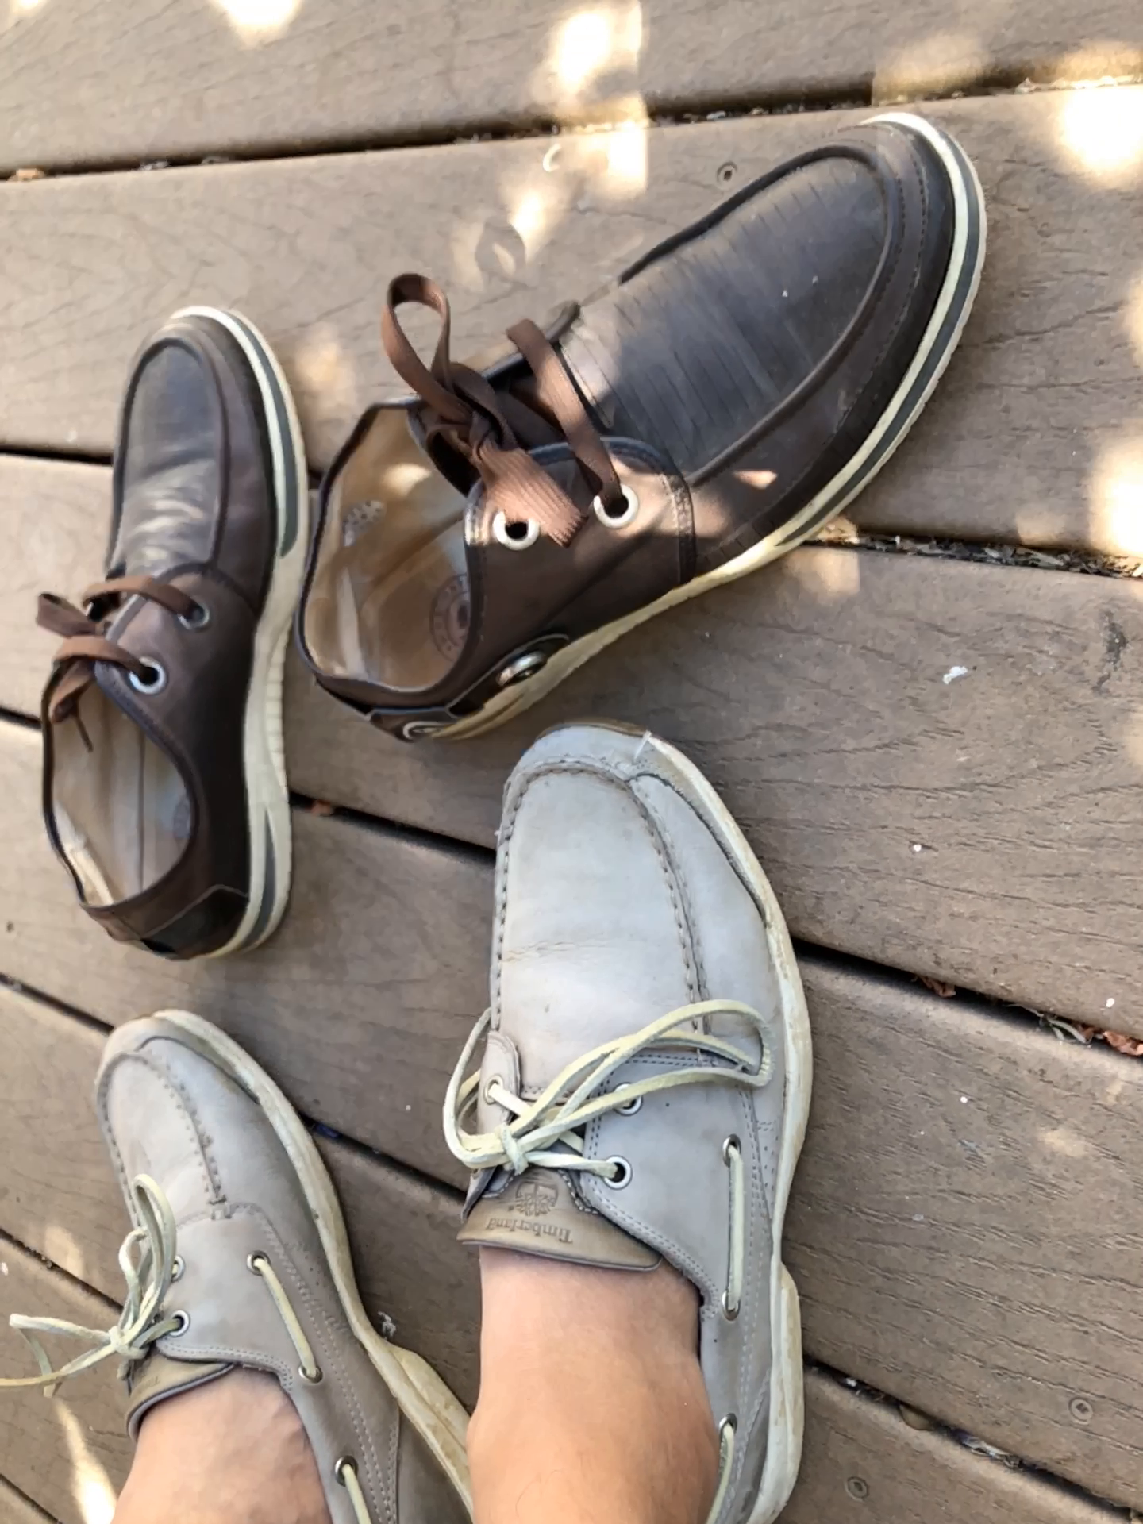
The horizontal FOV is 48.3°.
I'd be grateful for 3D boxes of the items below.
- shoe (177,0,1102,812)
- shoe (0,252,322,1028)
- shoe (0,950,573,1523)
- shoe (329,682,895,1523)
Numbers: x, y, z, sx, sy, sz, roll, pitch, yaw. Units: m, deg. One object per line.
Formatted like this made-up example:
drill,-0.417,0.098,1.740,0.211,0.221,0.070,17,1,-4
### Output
shoe,0.004,-0.097,0.409,0.278,0.079,0.109,-32,76,30
shoe,-0.172,-0.048,0.516,0.110,0.069,0.279,8,99,31
shoe,-0.138,0.232,0.506,0.110,0.086,0.293,-45,70,25
shoe,0.015,0.128,0.408,0.110,0.101,0.292,-8,88,32
